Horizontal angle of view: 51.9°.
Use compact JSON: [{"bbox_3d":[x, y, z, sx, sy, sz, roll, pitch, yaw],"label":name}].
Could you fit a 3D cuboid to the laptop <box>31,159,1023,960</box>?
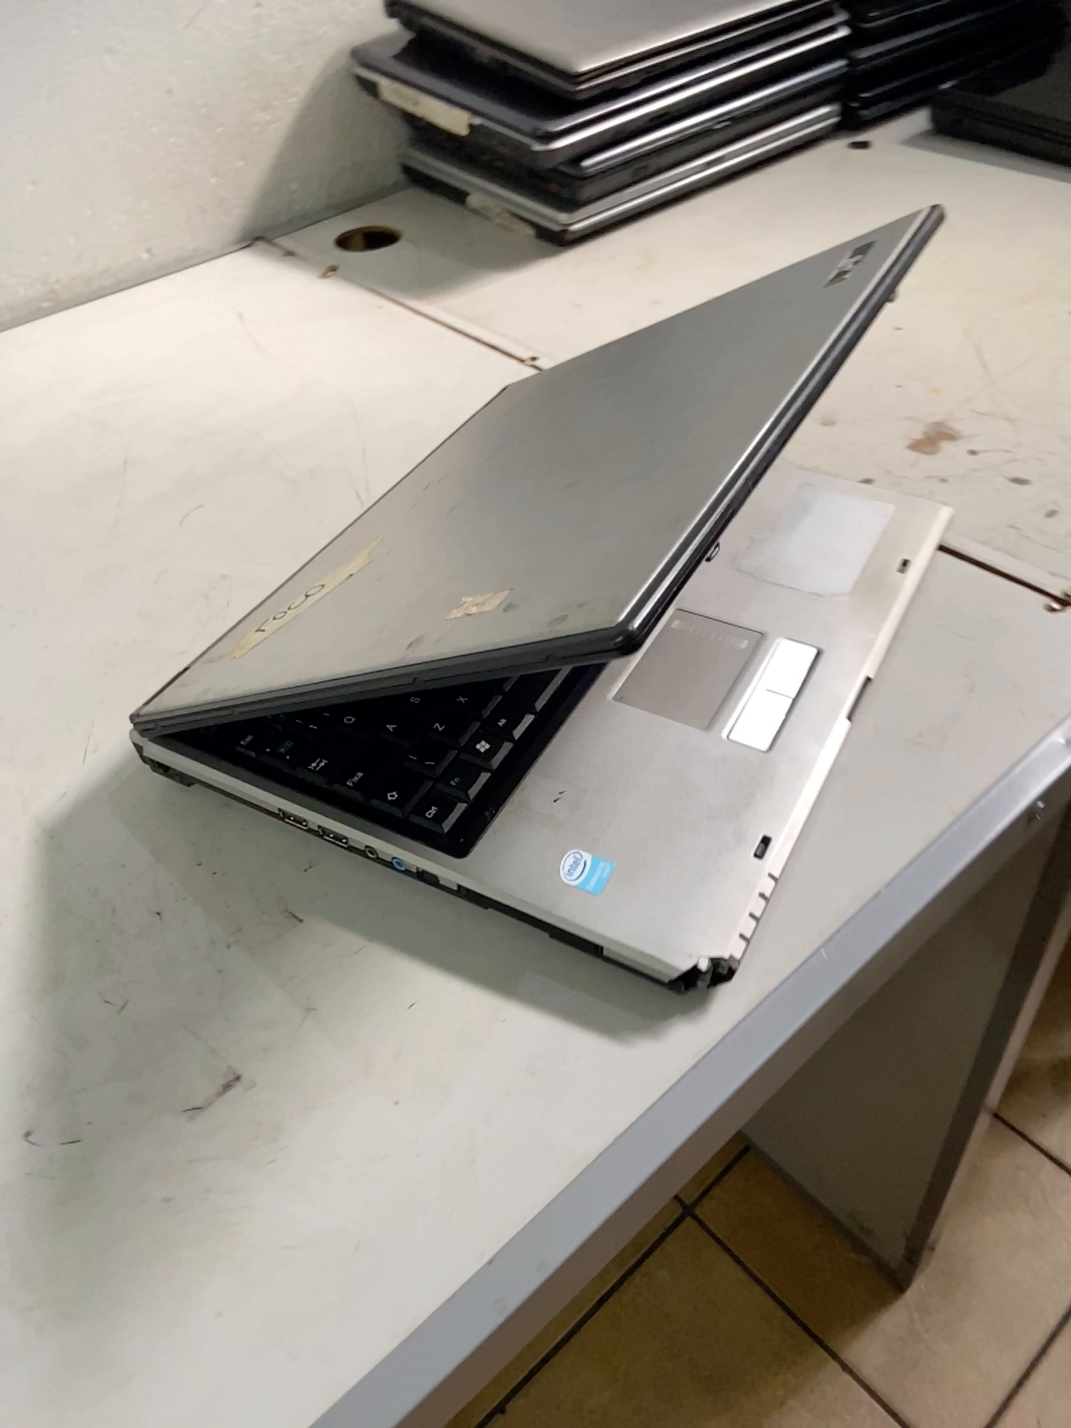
[{"bbox_3d":[0.022,-0.101,0.475,0.254,0.130,0.318,20,50,22],"label":"laptop"}]
